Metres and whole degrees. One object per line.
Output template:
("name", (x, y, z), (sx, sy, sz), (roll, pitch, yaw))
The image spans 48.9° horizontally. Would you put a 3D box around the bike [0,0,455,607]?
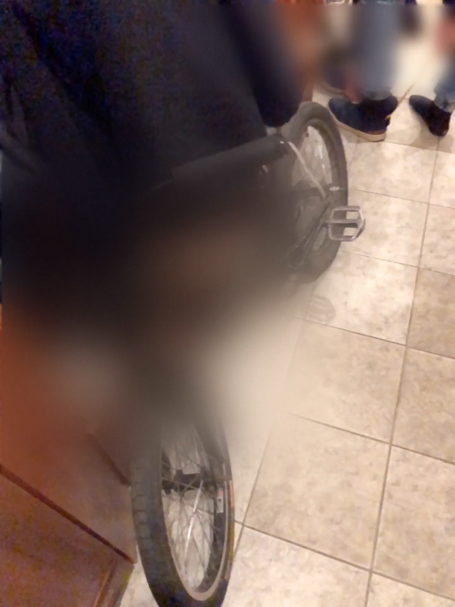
("bike", (0.054, -0.141, 1.047), (0.526, 0.855, 1.357), (16, 55, 14))
